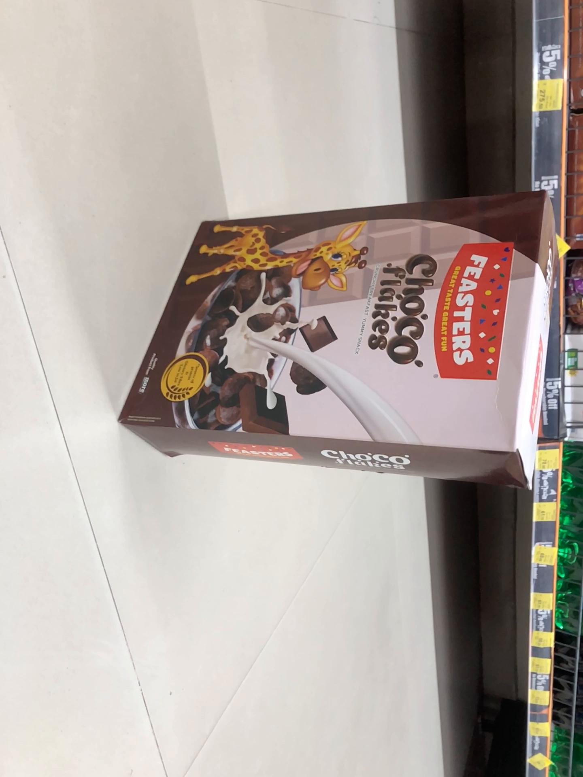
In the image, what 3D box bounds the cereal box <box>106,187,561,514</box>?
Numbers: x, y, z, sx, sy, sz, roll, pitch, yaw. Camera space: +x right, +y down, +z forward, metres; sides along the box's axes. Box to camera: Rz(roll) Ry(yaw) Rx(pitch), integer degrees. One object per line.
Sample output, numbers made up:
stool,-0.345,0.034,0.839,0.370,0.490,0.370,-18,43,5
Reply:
cereal box,0.032,-0.034,0.438,0.050,0.268,0.200,56,43,-52
